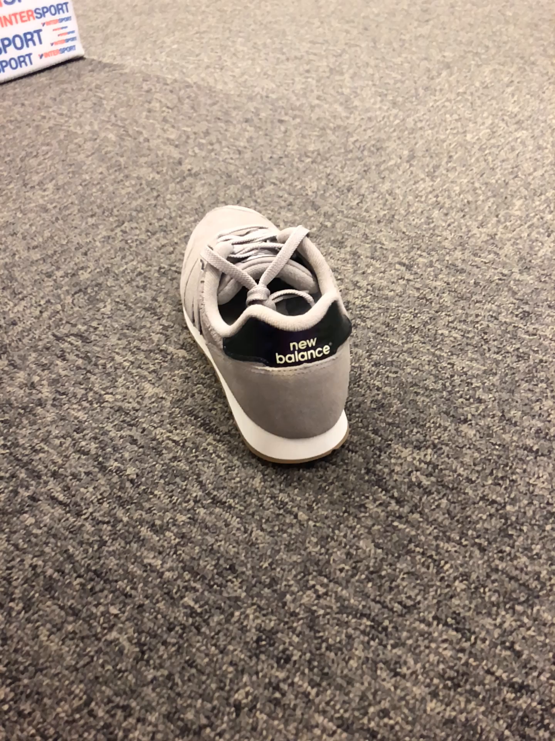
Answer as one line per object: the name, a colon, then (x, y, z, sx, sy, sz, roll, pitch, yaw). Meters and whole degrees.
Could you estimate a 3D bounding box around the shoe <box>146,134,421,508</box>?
shoe: (-0.013, -0.055, 0.418, 0.100, 0.109, 0.261, -13, 42, -11)
